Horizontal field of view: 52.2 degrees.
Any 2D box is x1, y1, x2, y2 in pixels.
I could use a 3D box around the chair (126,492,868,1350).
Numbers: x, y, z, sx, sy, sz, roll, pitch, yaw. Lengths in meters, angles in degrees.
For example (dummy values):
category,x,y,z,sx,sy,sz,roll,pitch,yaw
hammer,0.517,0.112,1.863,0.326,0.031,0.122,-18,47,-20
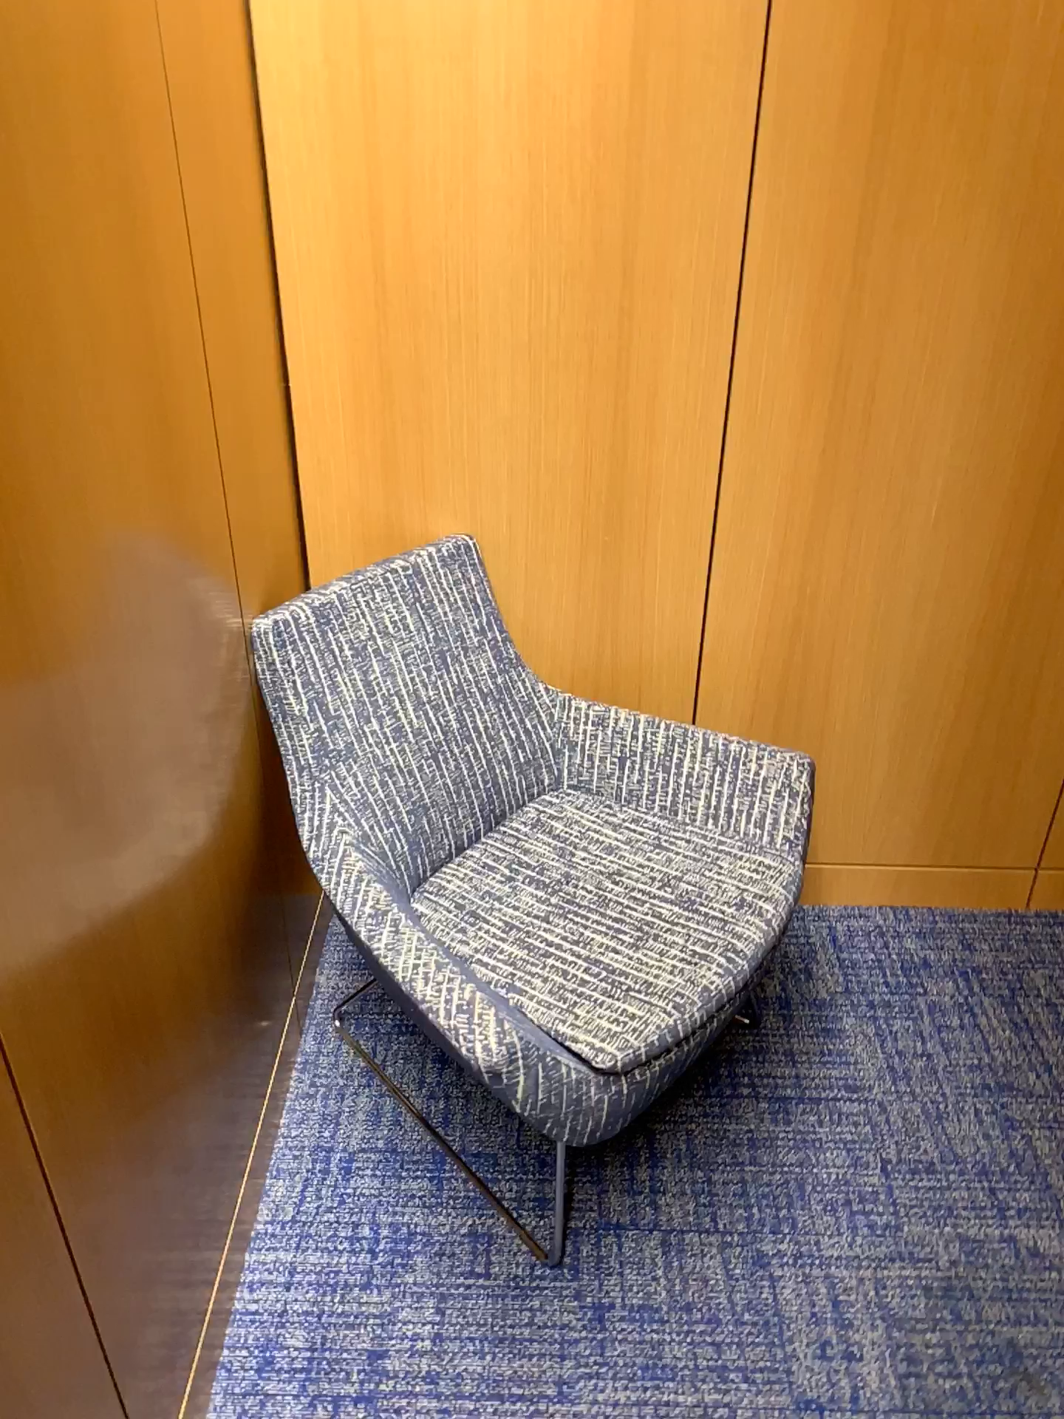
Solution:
category,x,y,z,sx,sy,sz,roll,pitch,yaw
chair,-0.019,0.214,1.528,0.614,0.746,0.703,21,36,31
